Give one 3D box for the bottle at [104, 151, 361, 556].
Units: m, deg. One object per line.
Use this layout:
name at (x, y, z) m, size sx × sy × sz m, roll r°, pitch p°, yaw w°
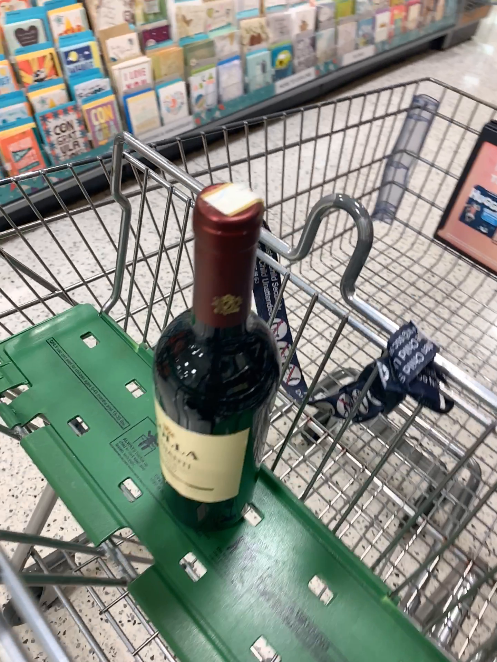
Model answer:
bottle at (-0.018, 0.039, 0.323) m, size 0.080 × 0.267 × 0.080 m, roll 3°, pitch 48°, yaw -4°
